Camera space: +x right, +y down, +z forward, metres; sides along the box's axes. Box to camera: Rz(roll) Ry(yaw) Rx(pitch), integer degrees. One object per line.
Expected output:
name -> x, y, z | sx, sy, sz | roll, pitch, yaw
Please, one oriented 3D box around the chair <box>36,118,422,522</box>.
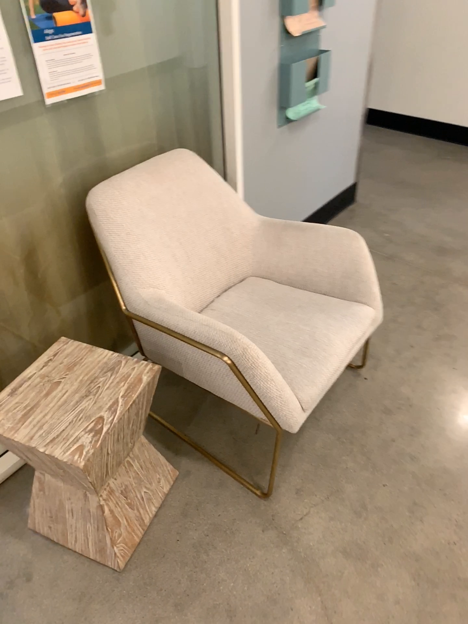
chair -> 0.027, -0.046, 1.590 | 0.772, 0.865, 0.782 | 21, 43, 27
